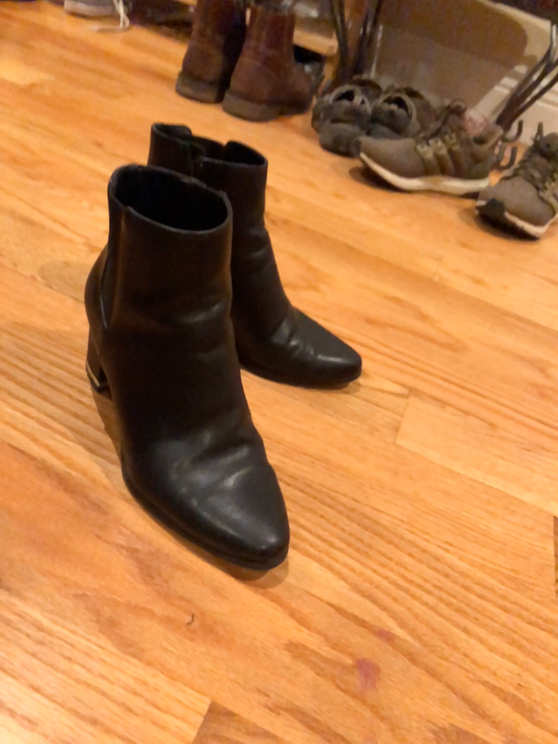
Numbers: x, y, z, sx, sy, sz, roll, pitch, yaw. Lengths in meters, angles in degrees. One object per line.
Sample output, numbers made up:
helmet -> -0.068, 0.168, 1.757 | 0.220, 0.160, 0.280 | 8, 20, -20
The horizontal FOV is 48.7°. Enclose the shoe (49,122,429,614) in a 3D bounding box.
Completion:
shoe -> -0.053, -0.018, 0.379 | 0.095, 0.175, 0.237 | -11, 45, -34

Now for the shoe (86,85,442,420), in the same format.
shoe -> -0.017, -0.095, 0.498 | 0.236, 0.175, 0.096 | 20, 35, 3
